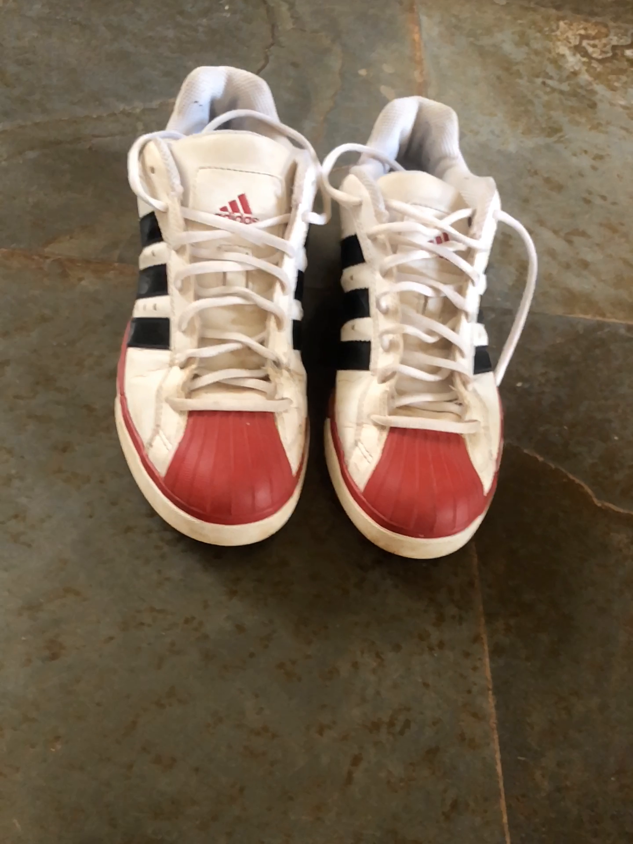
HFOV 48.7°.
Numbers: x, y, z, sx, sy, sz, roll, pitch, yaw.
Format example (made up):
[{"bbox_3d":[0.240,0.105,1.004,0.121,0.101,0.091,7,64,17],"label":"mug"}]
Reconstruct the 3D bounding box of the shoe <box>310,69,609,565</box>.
[{"bbox_3d":[0.062,-0.066,0.414,0.110,0.109,0.271,4,60,-10],"label":"shoe"}]

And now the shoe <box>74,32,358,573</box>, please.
[{"bbox_3d":[-0.059,-0.068,0.394,0.110,0.129,0.271,2,61,-11],"label":"shoe"}]
